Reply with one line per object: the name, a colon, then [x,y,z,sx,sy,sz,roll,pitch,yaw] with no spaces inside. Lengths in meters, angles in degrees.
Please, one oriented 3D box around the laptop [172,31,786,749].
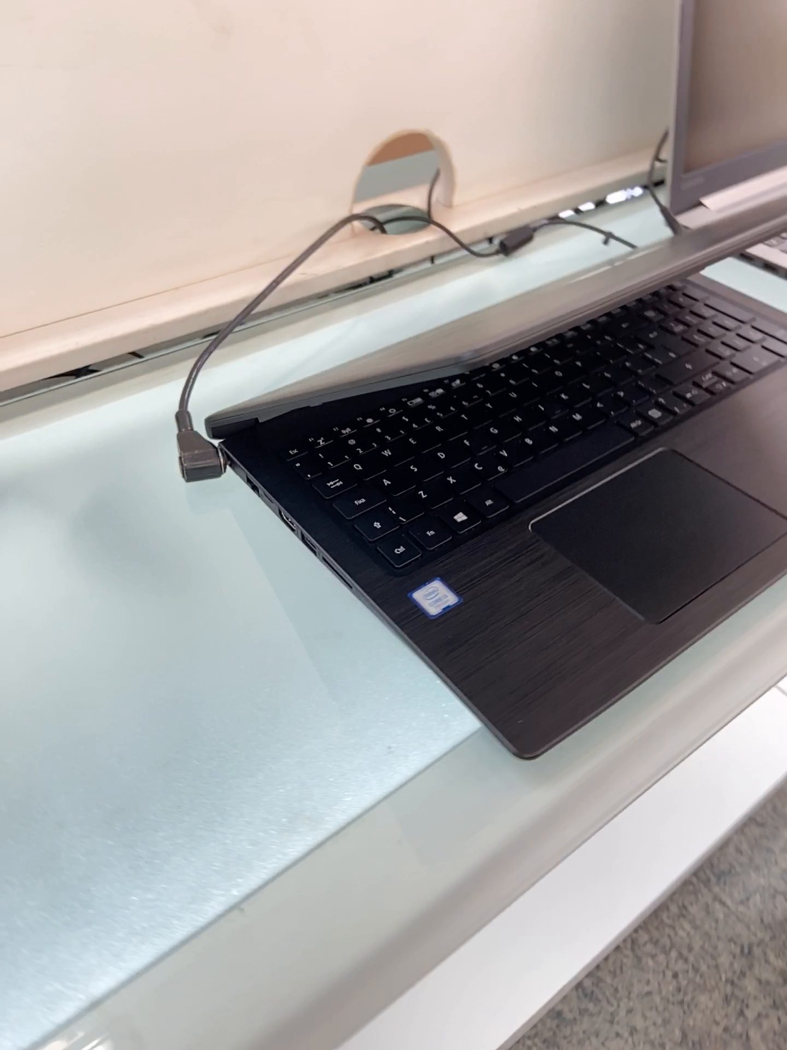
laptop: [0.124,-0.111,0.396,0.368,0.142,0.233,-28,50,-27]
